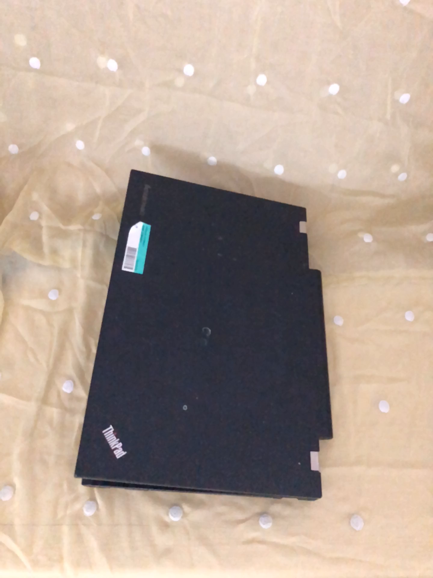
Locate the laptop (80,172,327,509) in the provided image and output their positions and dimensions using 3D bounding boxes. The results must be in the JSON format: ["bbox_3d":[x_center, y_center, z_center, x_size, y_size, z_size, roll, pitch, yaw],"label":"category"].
[{"bbox_3d":[-0.004,0.034,0.541,0.225,0.050,0.357,5,61,1],"label":"laptop"}]
